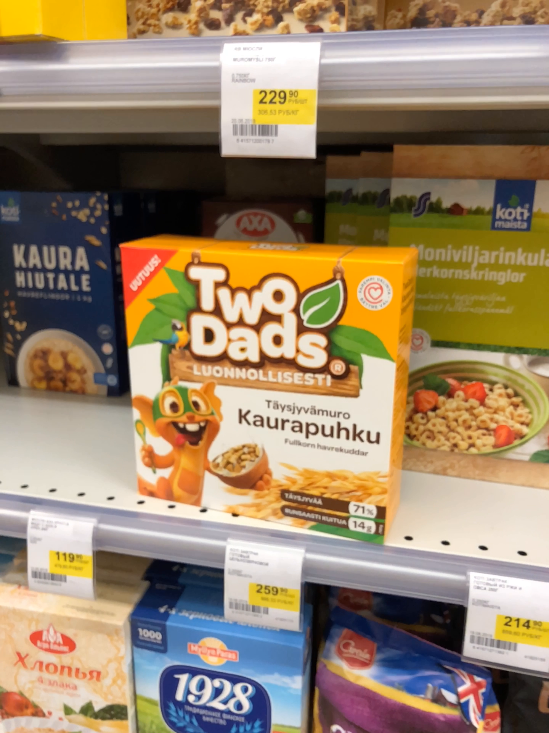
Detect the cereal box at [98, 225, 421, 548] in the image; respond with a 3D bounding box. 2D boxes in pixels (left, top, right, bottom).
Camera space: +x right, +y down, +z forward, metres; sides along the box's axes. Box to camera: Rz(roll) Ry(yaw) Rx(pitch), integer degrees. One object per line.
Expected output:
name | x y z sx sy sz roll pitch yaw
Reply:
cereal box | -0.011 0.004 0.429 0.200 0.189 0.070 7 18 19
